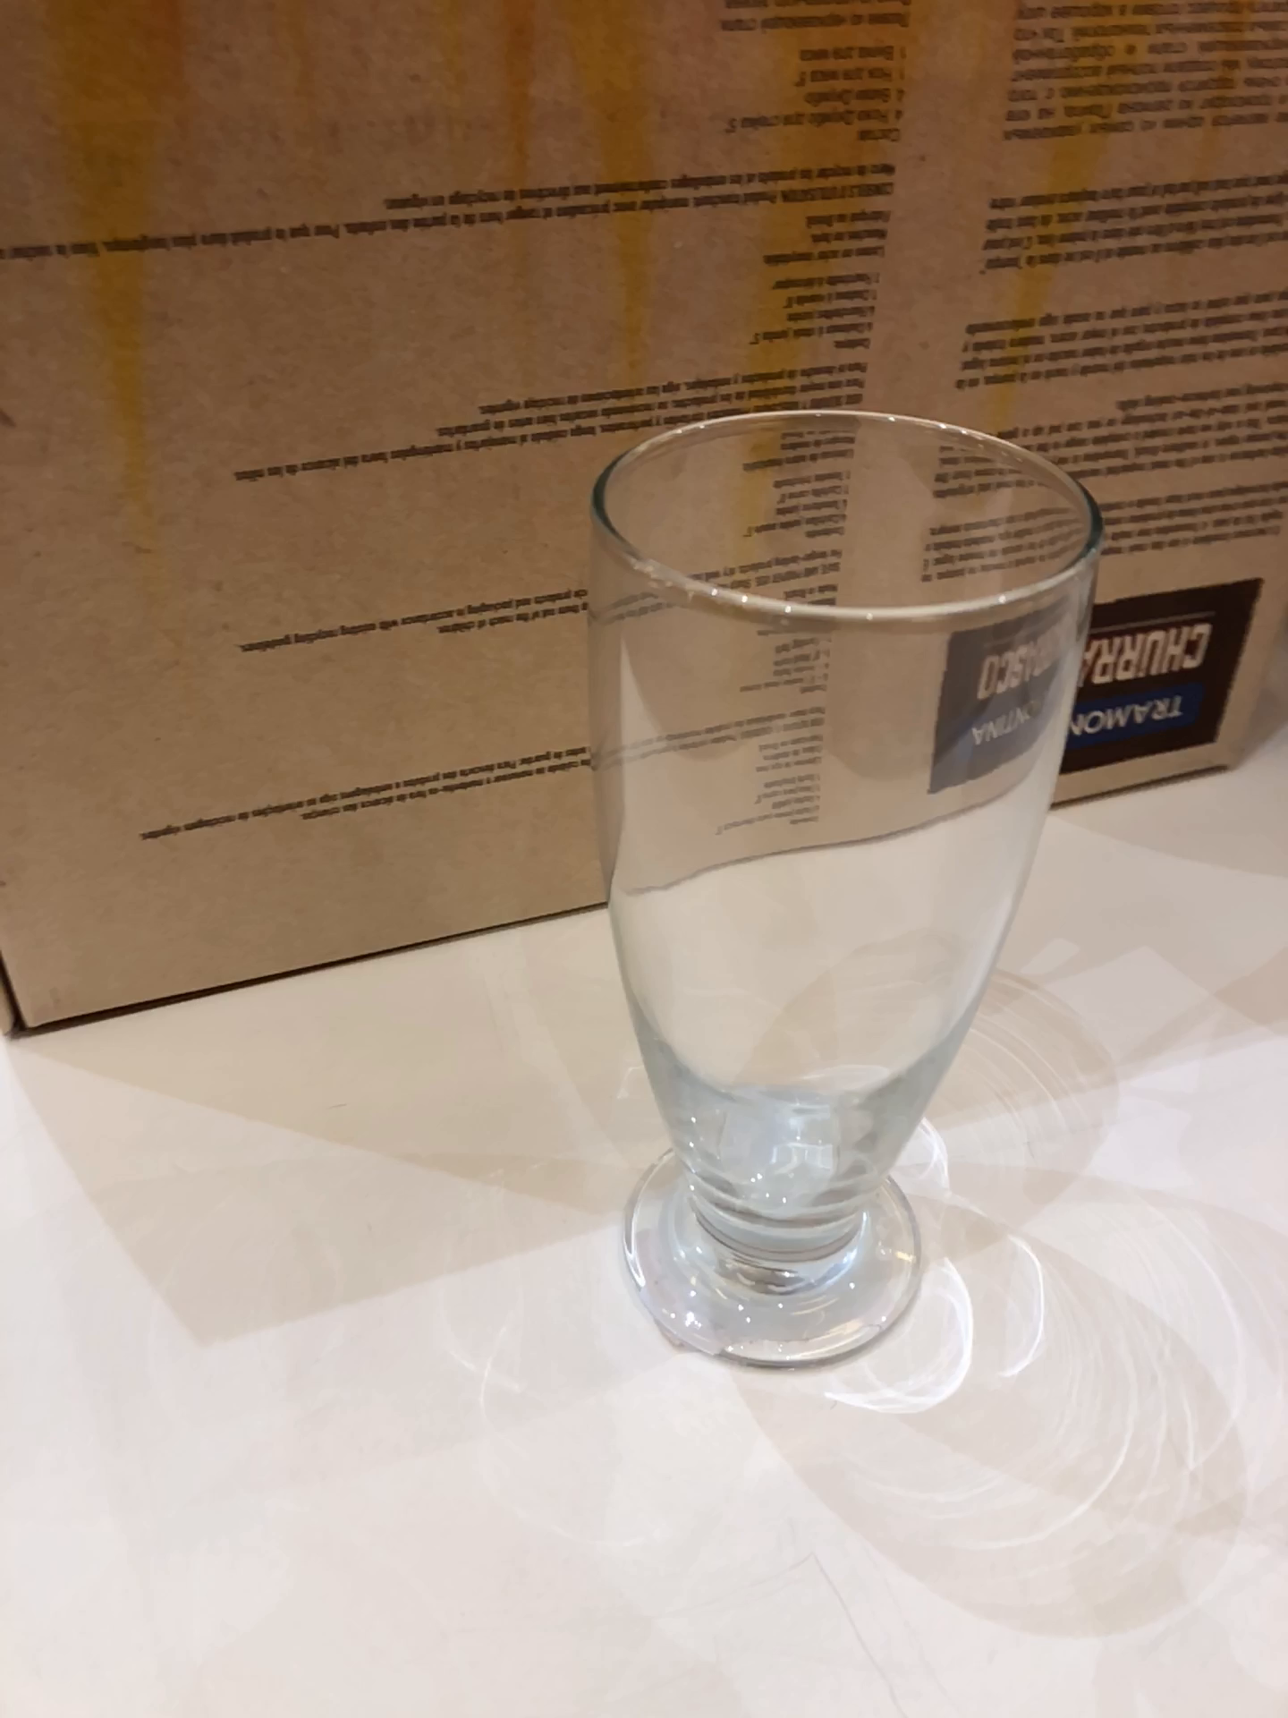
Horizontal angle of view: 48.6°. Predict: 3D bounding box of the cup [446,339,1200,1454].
[{"bbox_3d":[0.023,0.011,0.277,0.090,0.189,0.080,-13,38,-18],"label":"cup"}]
